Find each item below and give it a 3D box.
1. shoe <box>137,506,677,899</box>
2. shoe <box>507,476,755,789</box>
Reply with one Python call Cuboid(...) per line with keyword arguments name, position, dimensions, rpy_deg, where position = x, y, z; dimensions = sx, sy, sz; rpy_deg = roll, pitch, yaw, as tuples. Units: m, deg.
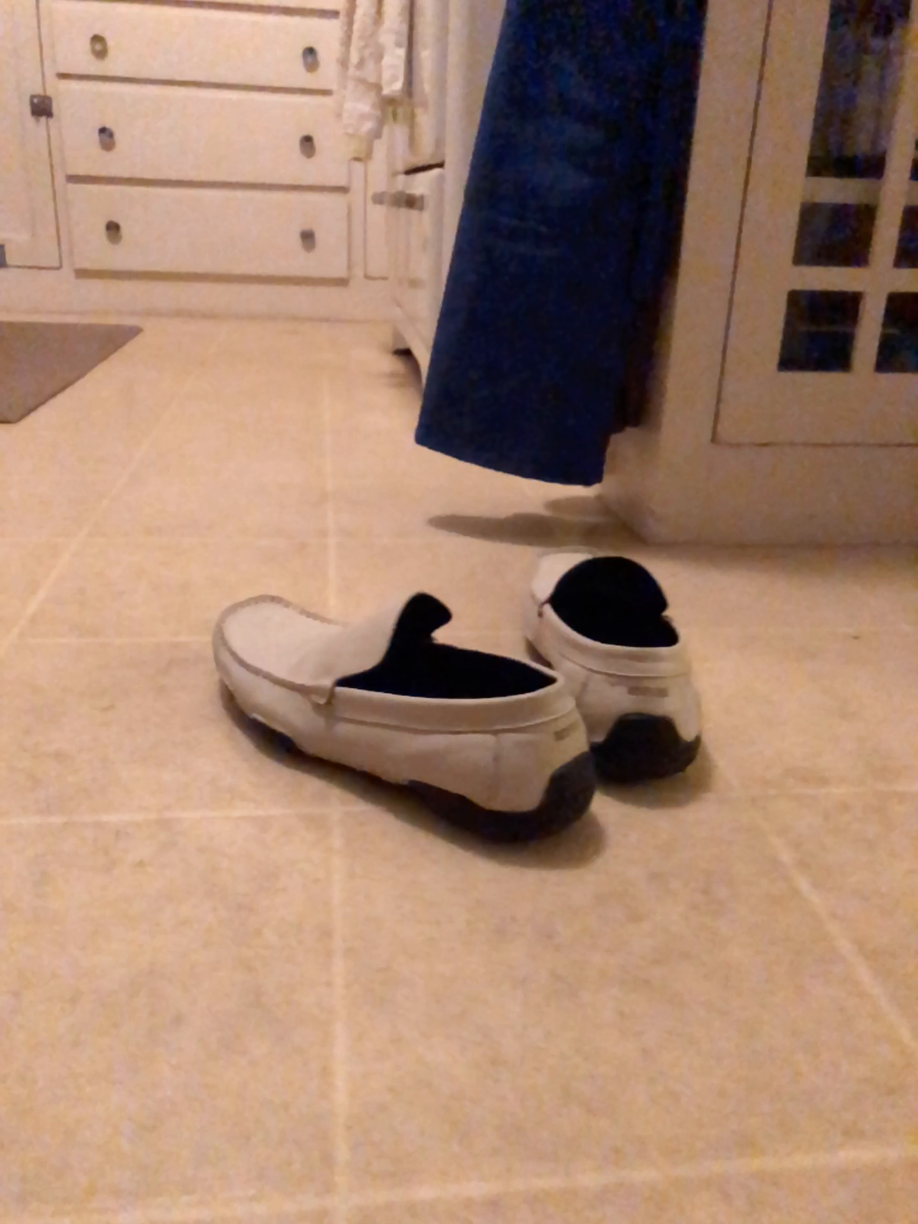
Cuboid(name="shoe", position=(-0.044, 0.029, 0.577), dimensions=(0.307, 0.097, 0.111), rpy_deg=(20, 28, 37))
Cuboid(name="shoe", position=(0.096, -0.004, 0.674), dimensions=(0.110, 0.097, 0.291), rpy_deg=(2, 22, -1))
